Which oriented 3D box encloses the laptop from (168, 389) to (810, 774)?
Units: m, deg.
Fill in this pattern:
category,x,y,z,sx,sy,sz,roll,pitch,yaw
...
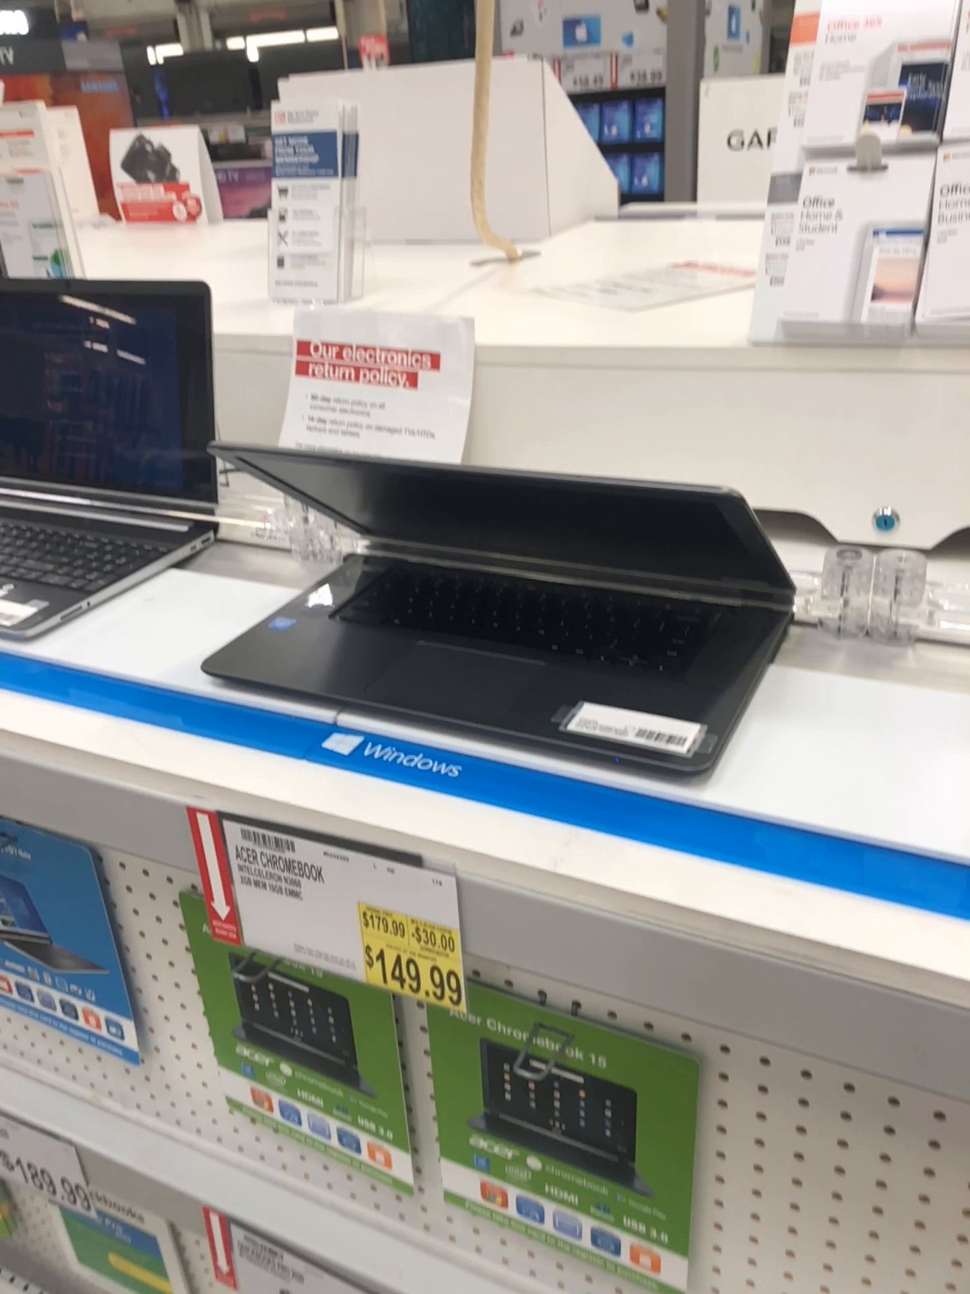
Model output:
category,x,y,z,sx,sy,sz,roll,pitch,yaw
laptop,0.007,-0.069,0.730,0.365,0.136,0.220,10,32,27
